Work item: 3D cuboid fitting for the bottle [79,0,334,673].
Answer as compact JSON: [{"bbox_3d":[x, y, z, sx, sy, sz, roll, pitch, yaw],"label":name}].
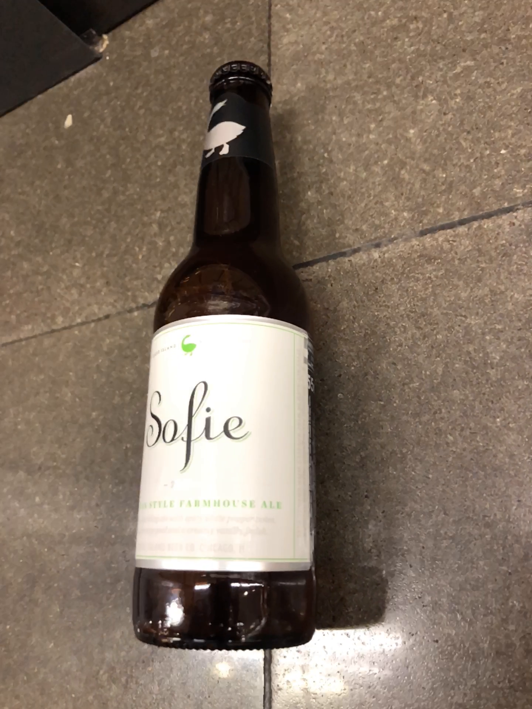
[{"bbox_3d":[-0.019,-0.020,0.227,0.070,0.040,0.240,-12,67,30],"label":"bottle"}]
